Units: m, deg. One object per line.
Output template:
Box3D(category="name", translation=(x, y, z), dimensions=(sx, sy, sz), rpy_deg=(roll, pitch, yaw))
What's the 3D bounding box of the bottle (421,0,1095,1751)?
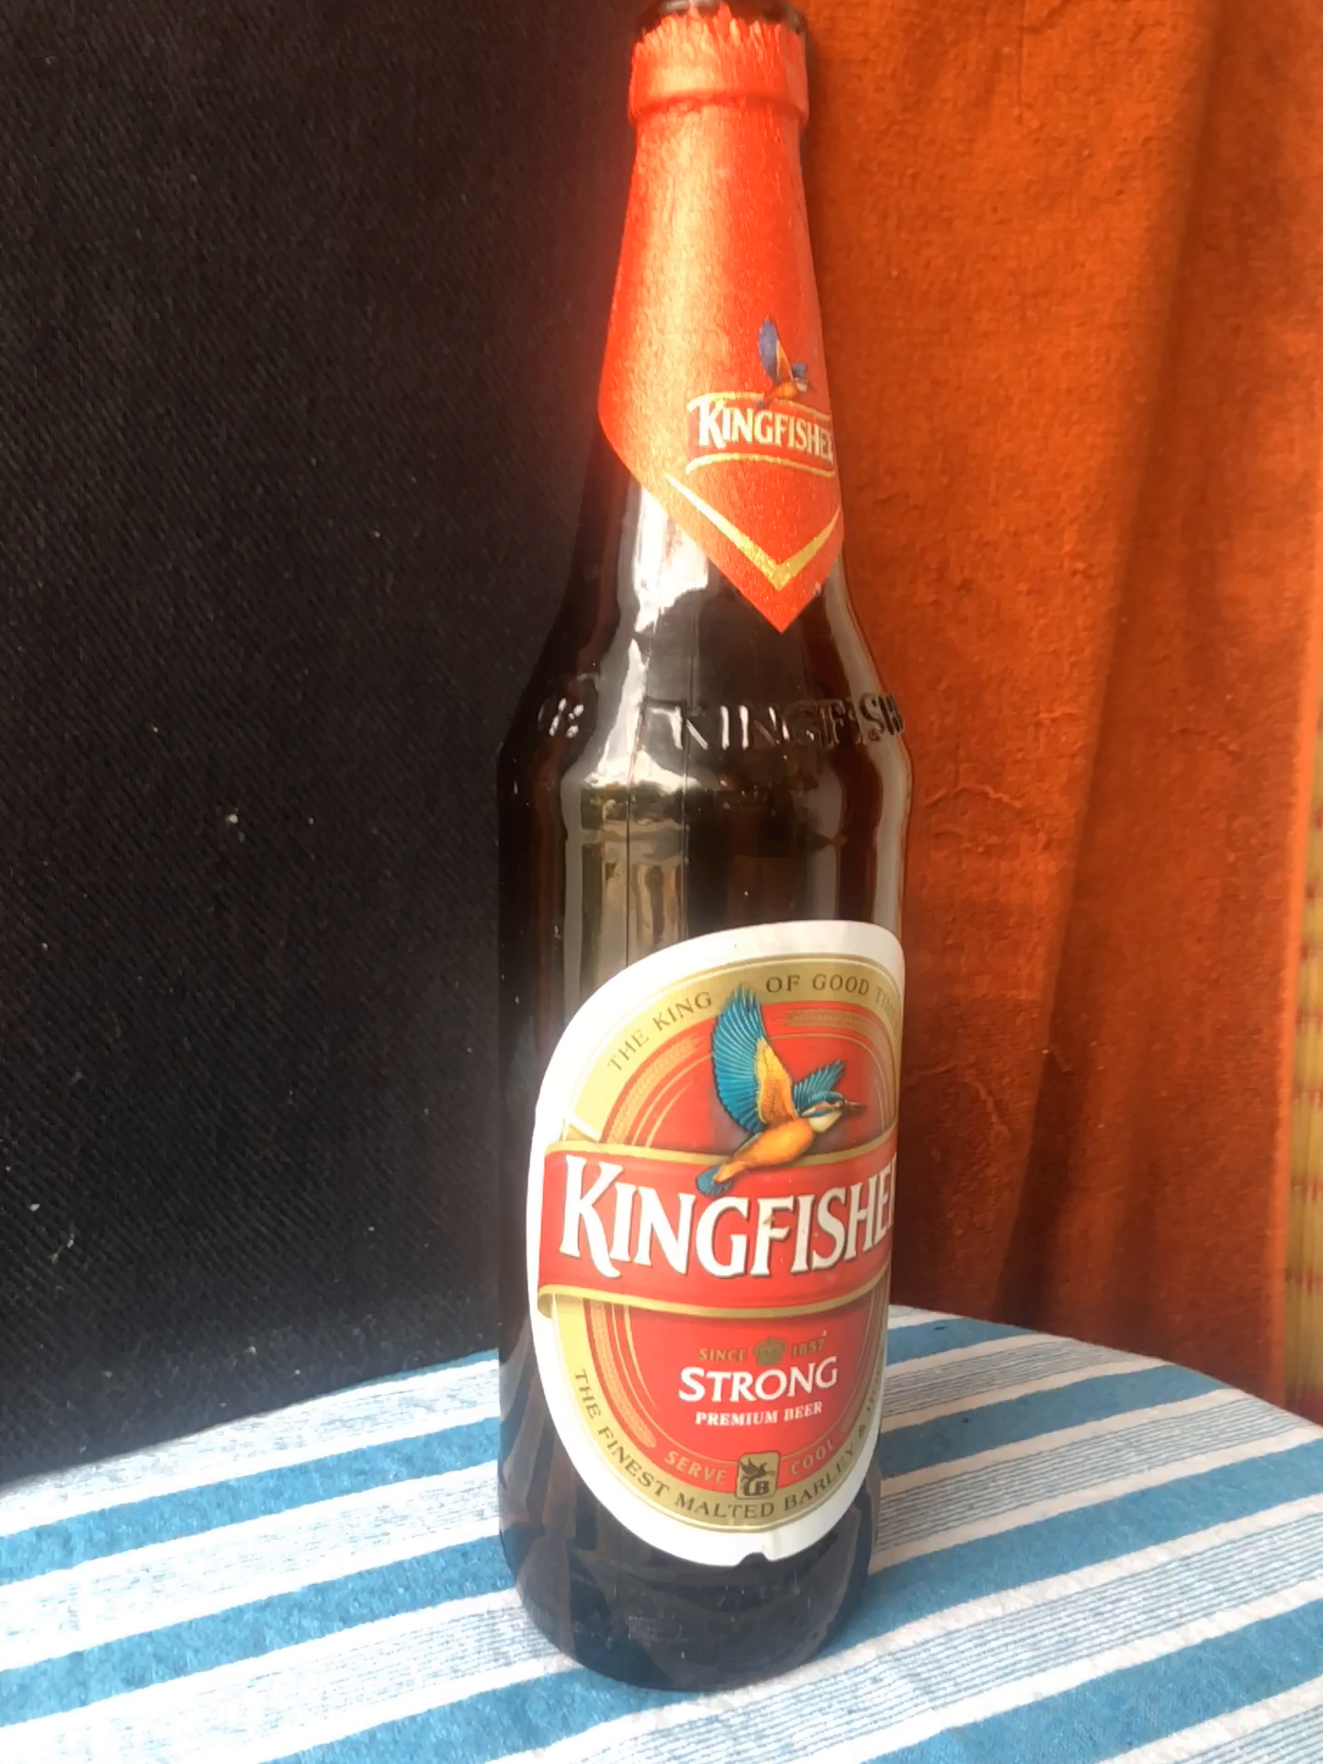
Box3D(category="bottle", translation=(0.007, -0.005, 0.263), dimensions=(0.080, 0.289, 0.070), rpy_deg=(-2, 12, -21))
